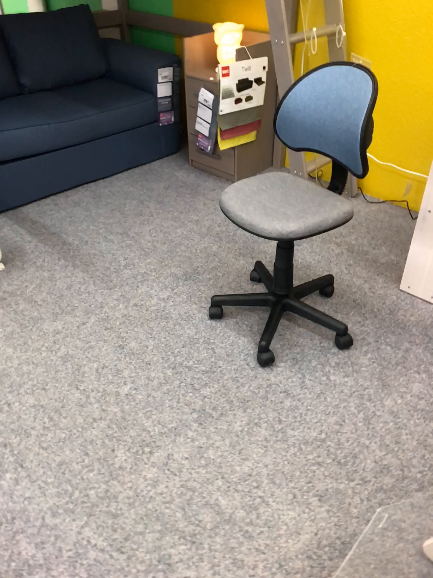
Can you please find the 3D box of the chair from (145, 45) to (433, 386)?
[{"bbox_3d":[0.215,-0.267,1.482,0.563,0.745,0.601,-28,45,-31],"label":"chair"}]
